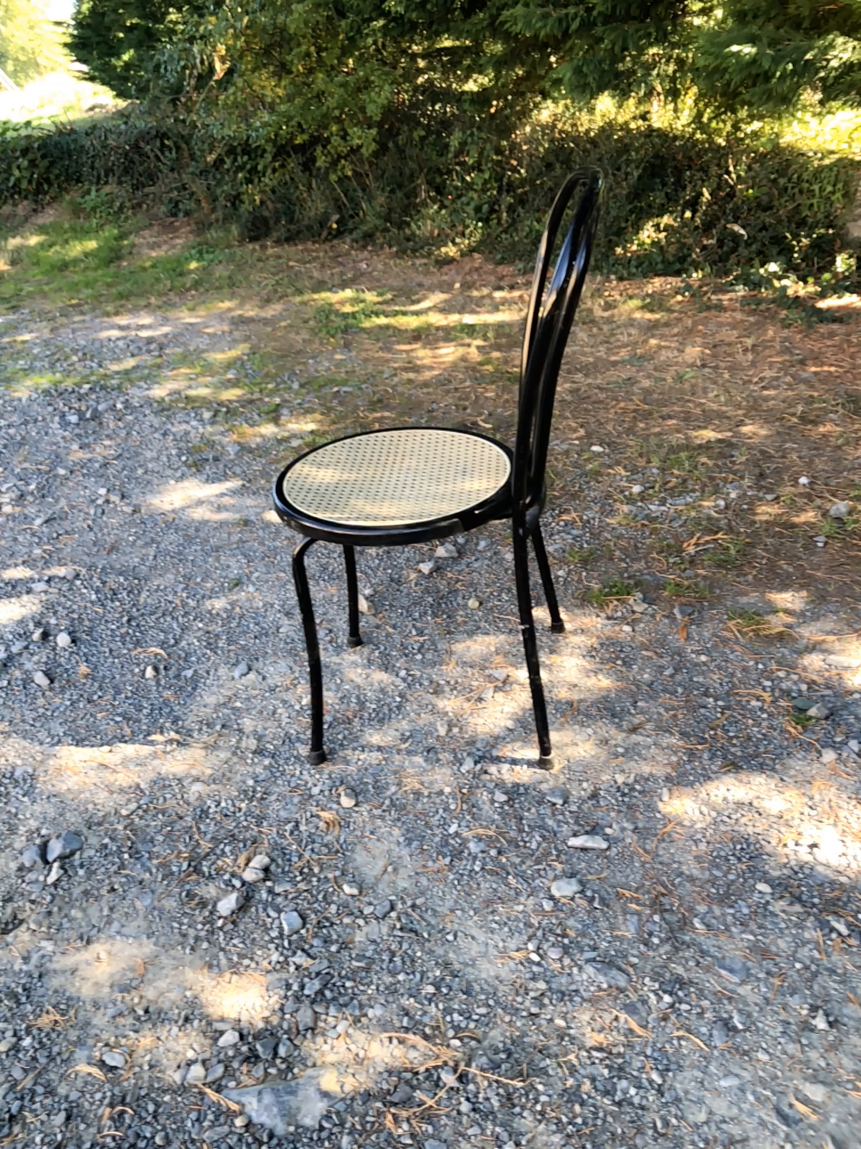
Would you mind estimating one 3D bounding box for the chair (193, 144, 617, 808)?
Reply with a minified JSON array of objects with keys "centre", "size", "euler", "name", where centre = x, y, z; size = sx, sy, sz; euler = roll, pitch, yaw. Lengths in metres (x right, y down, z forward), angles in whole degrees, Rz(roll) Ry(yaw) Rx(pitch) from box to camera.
[{"centre":[0.016,-0.141,1.423],"size":[0.470,0.875,0.433],"euler":[1,29,8],"name":"chair"}]
